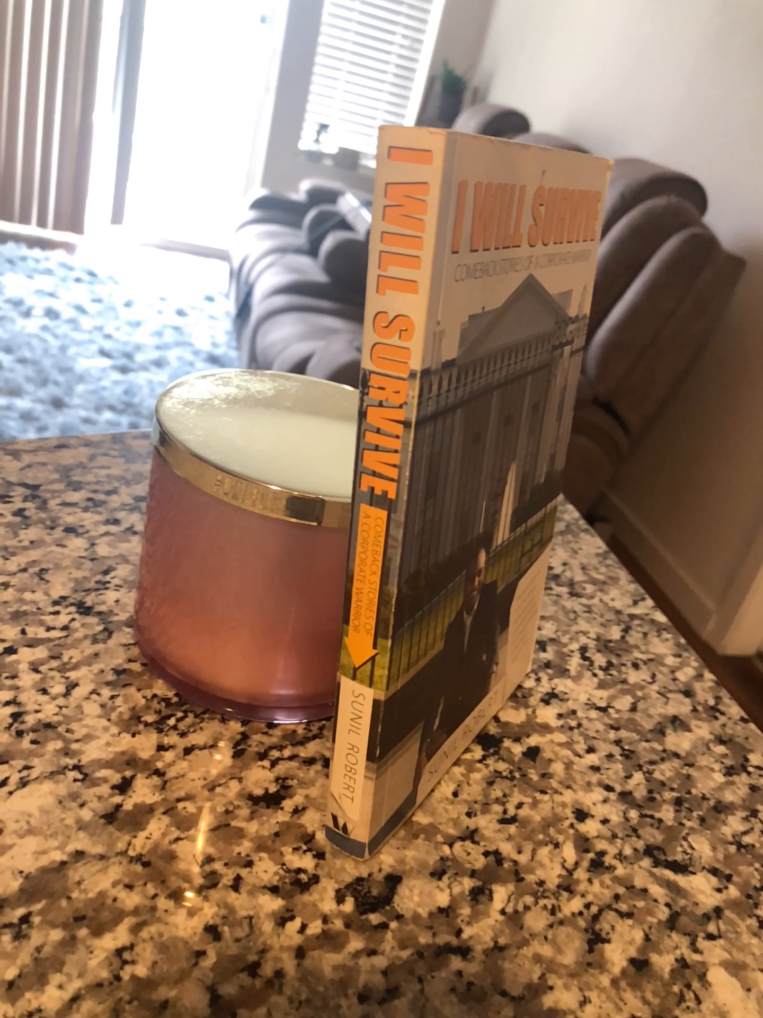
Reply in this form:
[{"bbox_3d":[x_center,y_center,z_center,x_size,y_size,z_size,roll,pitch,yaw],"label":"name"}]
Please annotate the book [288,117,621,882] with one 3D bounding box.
[{"bbox_3d":[0.026,-0.010,0.263,0.032,0.191,0.135,15,24,25],"label":"book"}]
